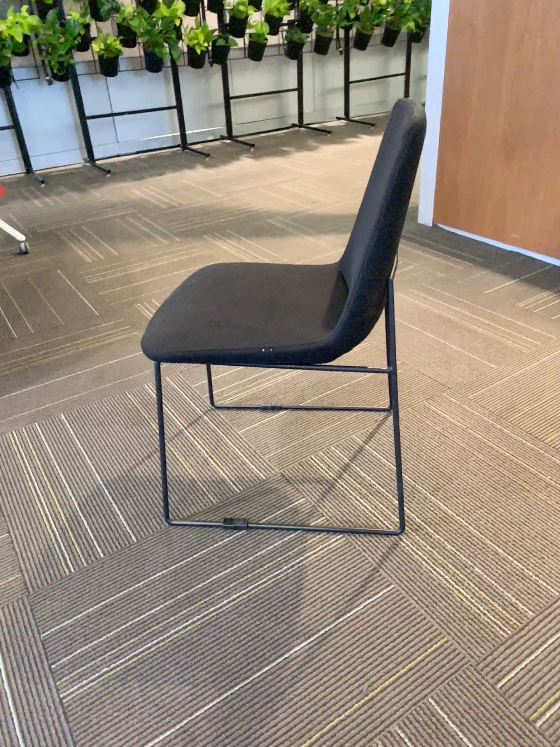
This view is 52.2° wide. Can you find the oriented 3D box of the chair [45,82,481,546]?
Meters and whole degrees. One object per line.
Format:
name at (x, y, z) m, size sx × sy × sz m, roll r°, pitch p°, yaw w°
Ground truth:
chair at (0.014, -0.125, 1.139) m, size 0.570 × 0.745 × 0.493 m, roll 1°, pitch 32°, yaw 8°
